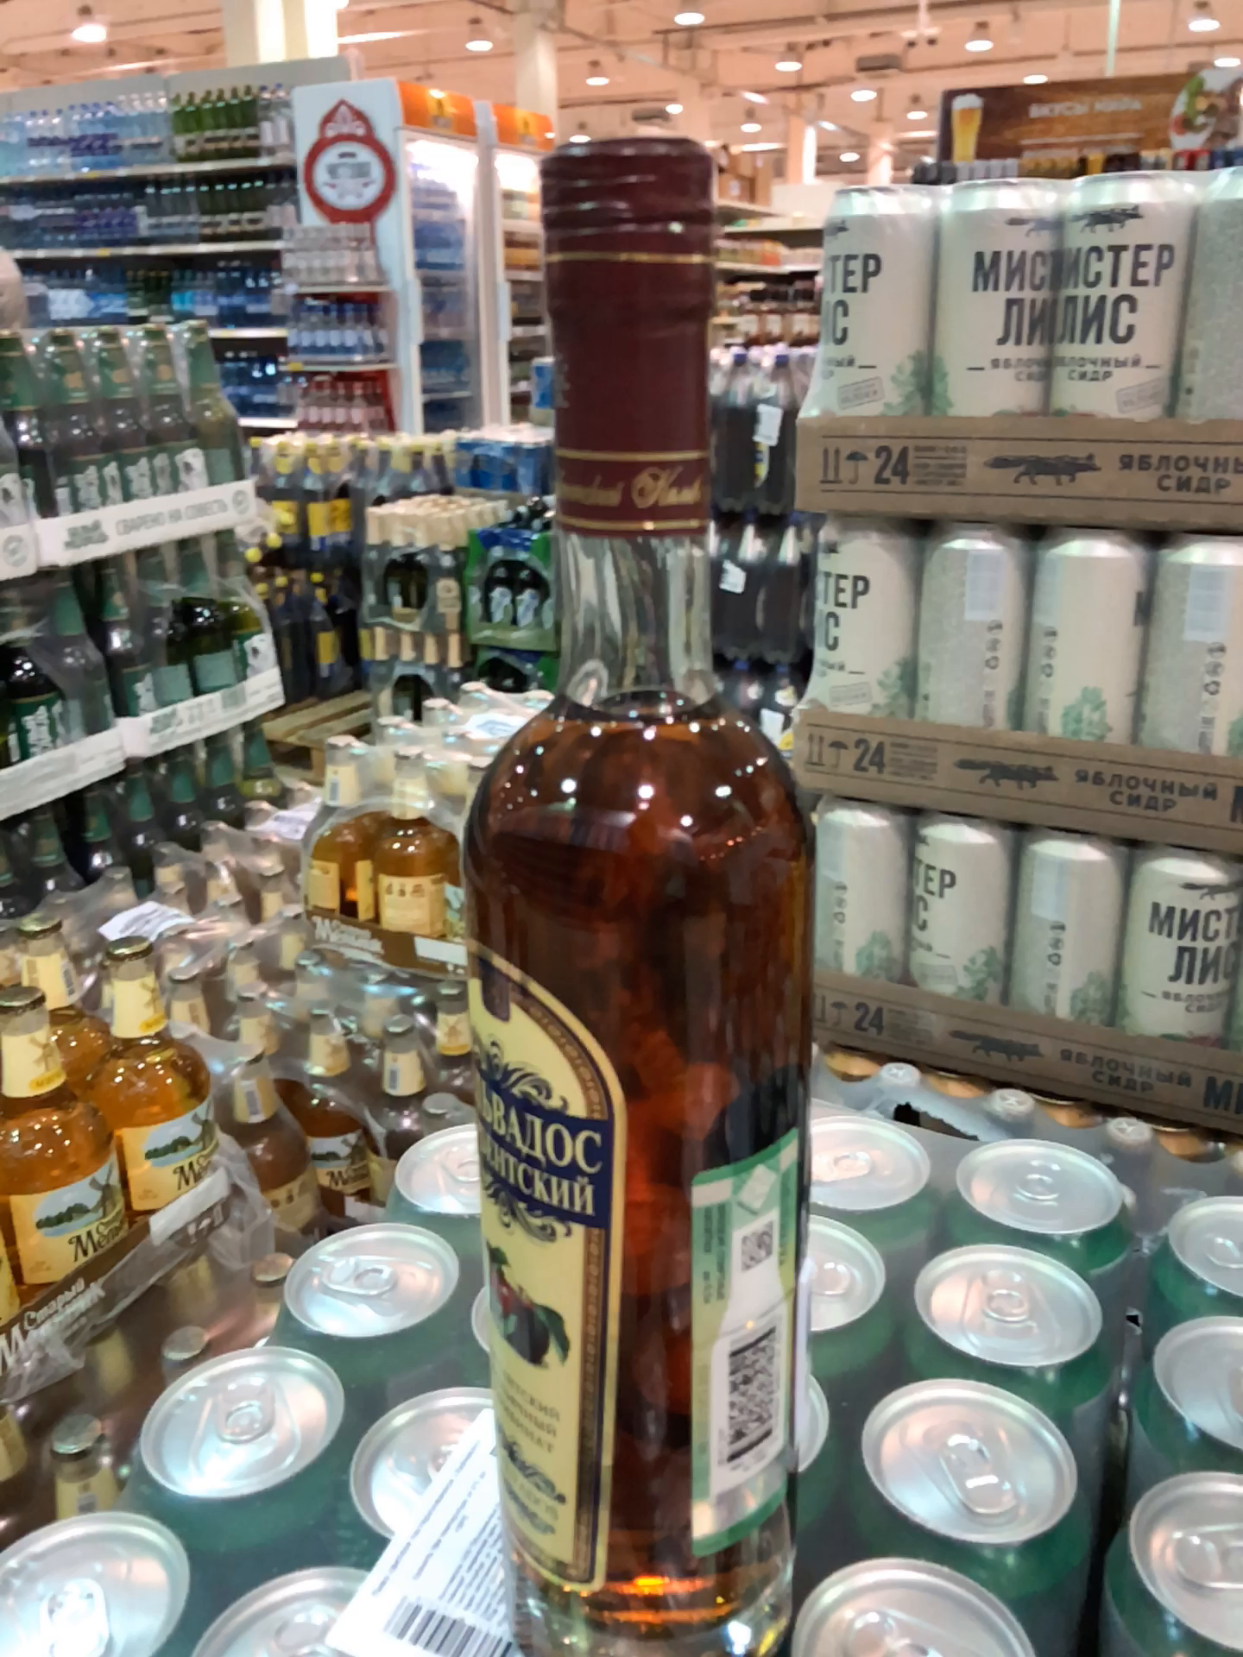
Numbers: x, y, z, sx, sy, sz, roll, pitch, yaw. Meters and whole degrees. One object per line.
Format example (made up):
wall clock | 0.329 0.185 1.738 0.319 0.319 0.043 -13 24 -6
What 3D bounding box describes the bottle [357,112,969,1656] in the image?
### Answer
bottle | 0.007 0.032 0.269 0.070 0.298 0.070 -1 19 0
